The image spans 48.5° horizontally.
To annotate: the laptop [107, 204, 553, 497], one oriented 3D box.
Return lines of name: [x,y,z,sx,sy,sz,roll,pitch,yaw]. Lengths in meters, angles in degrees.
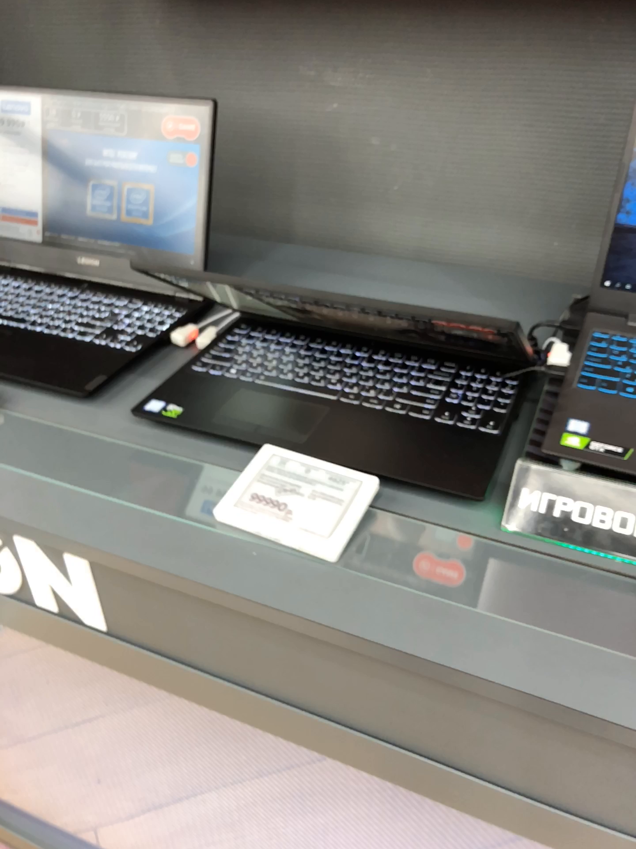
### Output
laptop: [0.019,-0.095,0.691,0.353,0.136,0.228,13,37,20]

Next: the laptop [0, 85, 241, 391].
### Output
laptop: [-0.349,-0.248,0.851,0.364,0.231,0.308,13,38,22]
